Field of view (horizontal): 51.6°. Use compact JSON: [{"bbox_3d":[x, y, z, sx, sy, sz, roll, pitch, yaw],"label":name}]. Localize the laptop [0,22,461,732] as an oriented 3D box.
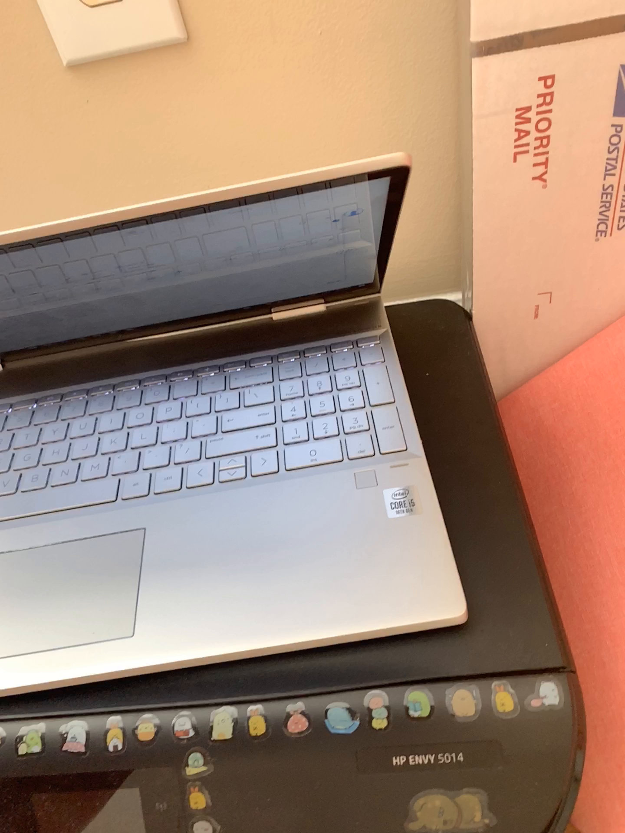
[{"bbox_3d":[-0.133,-0.026,0.313,0.350,0.169,0.238,-10,45,3],"label":"laptop"}]
